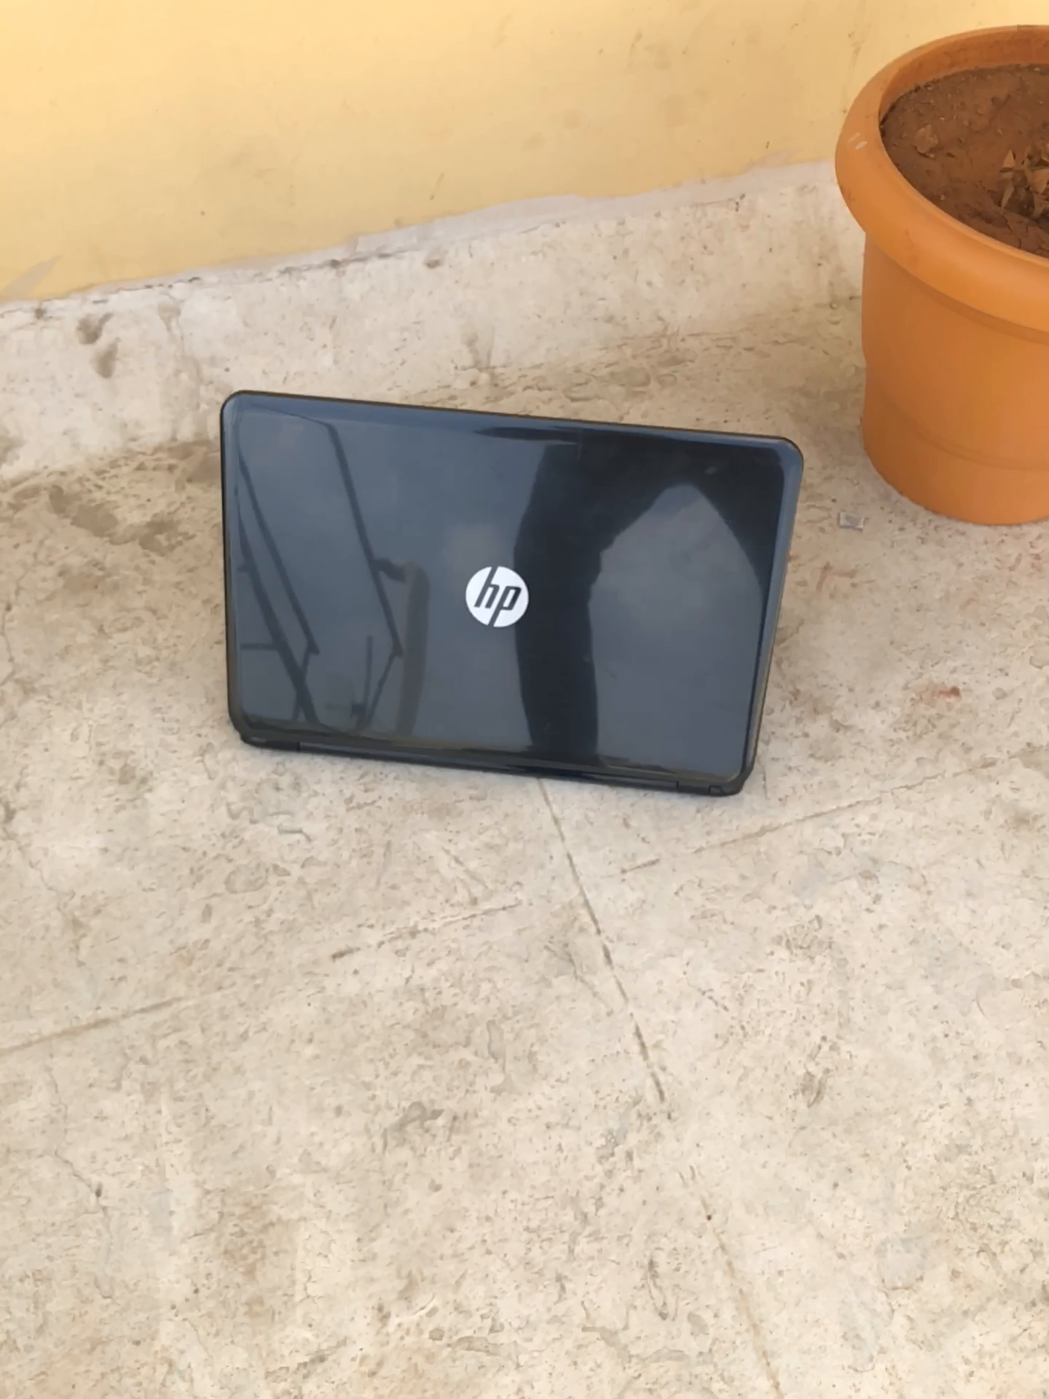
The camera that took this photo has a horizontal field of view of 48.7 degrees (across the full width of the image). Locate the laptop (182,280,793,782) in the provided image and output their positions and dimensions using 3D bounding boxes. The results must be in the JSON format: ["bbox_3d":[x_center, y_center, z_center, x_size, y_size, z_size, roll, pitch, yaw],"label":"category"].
[{"bbox_3d":[-0.011,-0.111,0.789,0.344,0.189,0.222,6,59,3],"label":"laptop"}]
